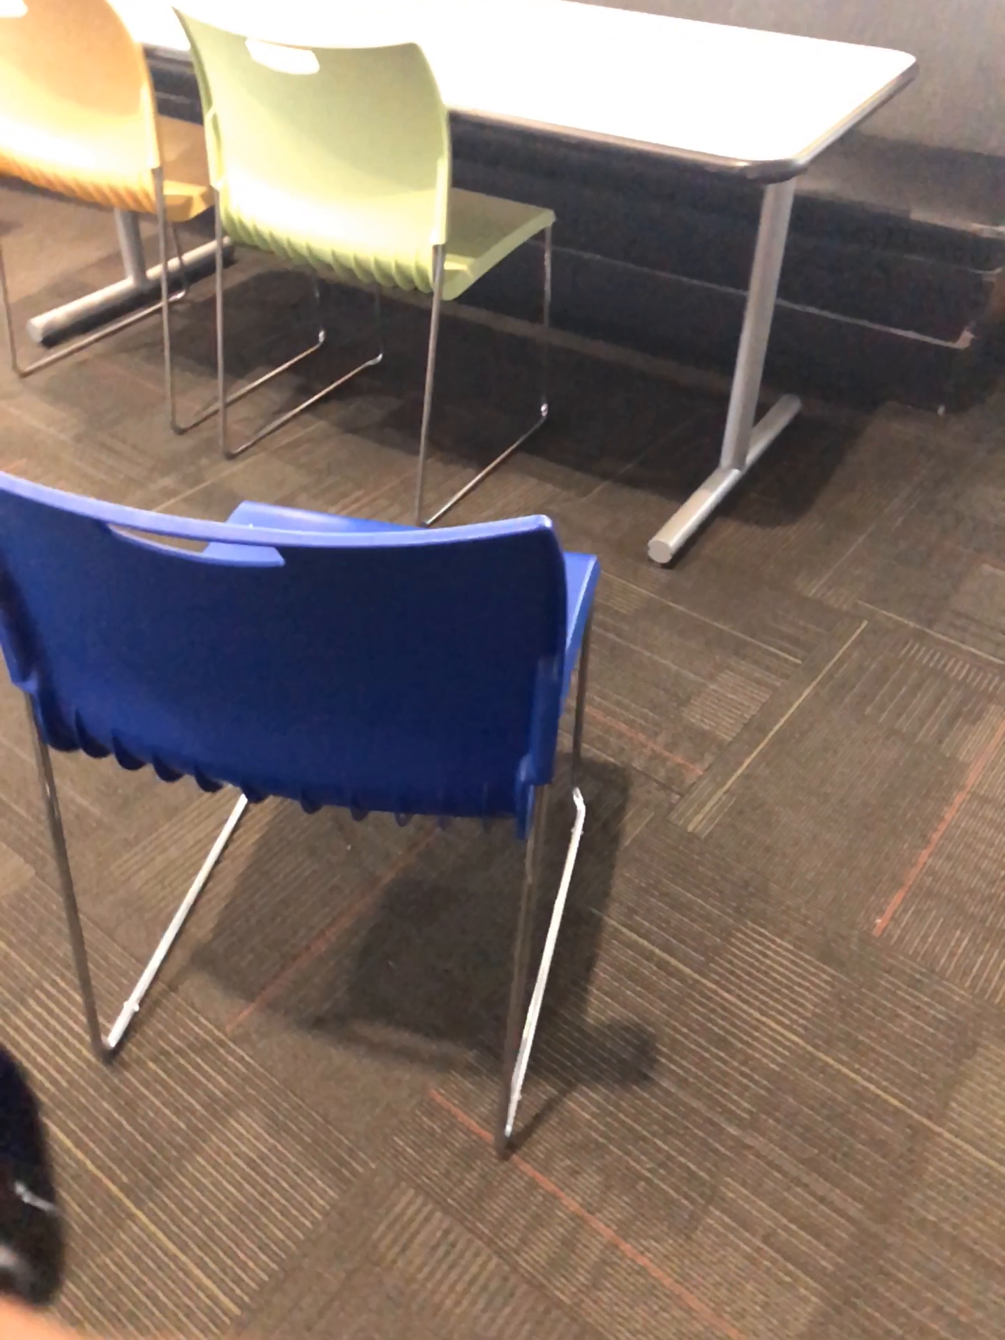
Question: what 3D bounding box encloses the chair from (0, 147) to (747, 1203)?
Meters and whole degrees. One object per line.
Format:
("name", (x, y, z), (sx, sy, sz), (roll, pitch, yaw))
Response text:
("chair", (-0.134, -0.004, 1.097), (0.580, 0.756, 0.593), (10, 42, 9))
